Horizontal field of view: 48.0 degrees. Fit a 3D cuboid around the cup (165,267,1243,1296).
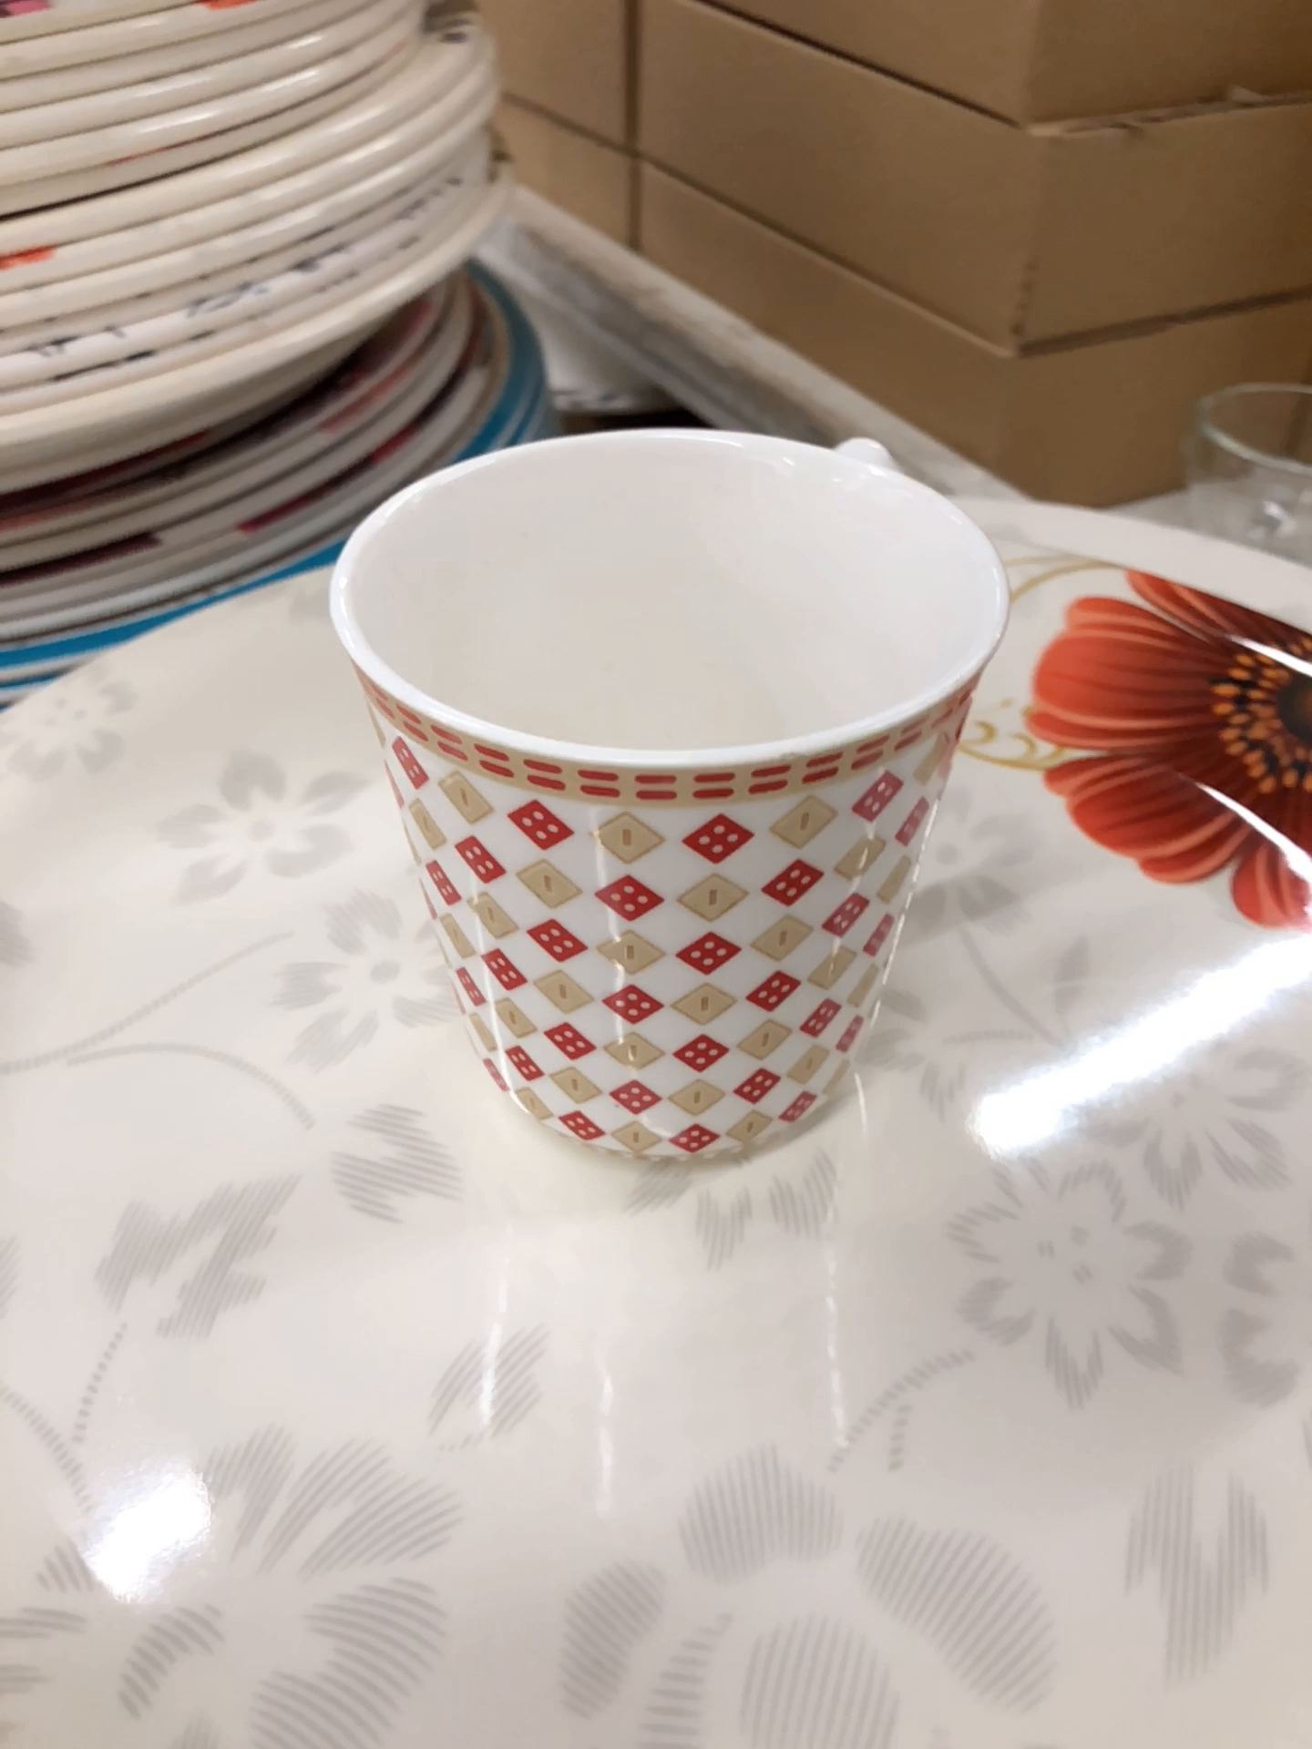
[{"bbox_3d":[0.011,-0.024,0.215,0.080,0.079,0.121,30,49,30],"label":"cup"}]
